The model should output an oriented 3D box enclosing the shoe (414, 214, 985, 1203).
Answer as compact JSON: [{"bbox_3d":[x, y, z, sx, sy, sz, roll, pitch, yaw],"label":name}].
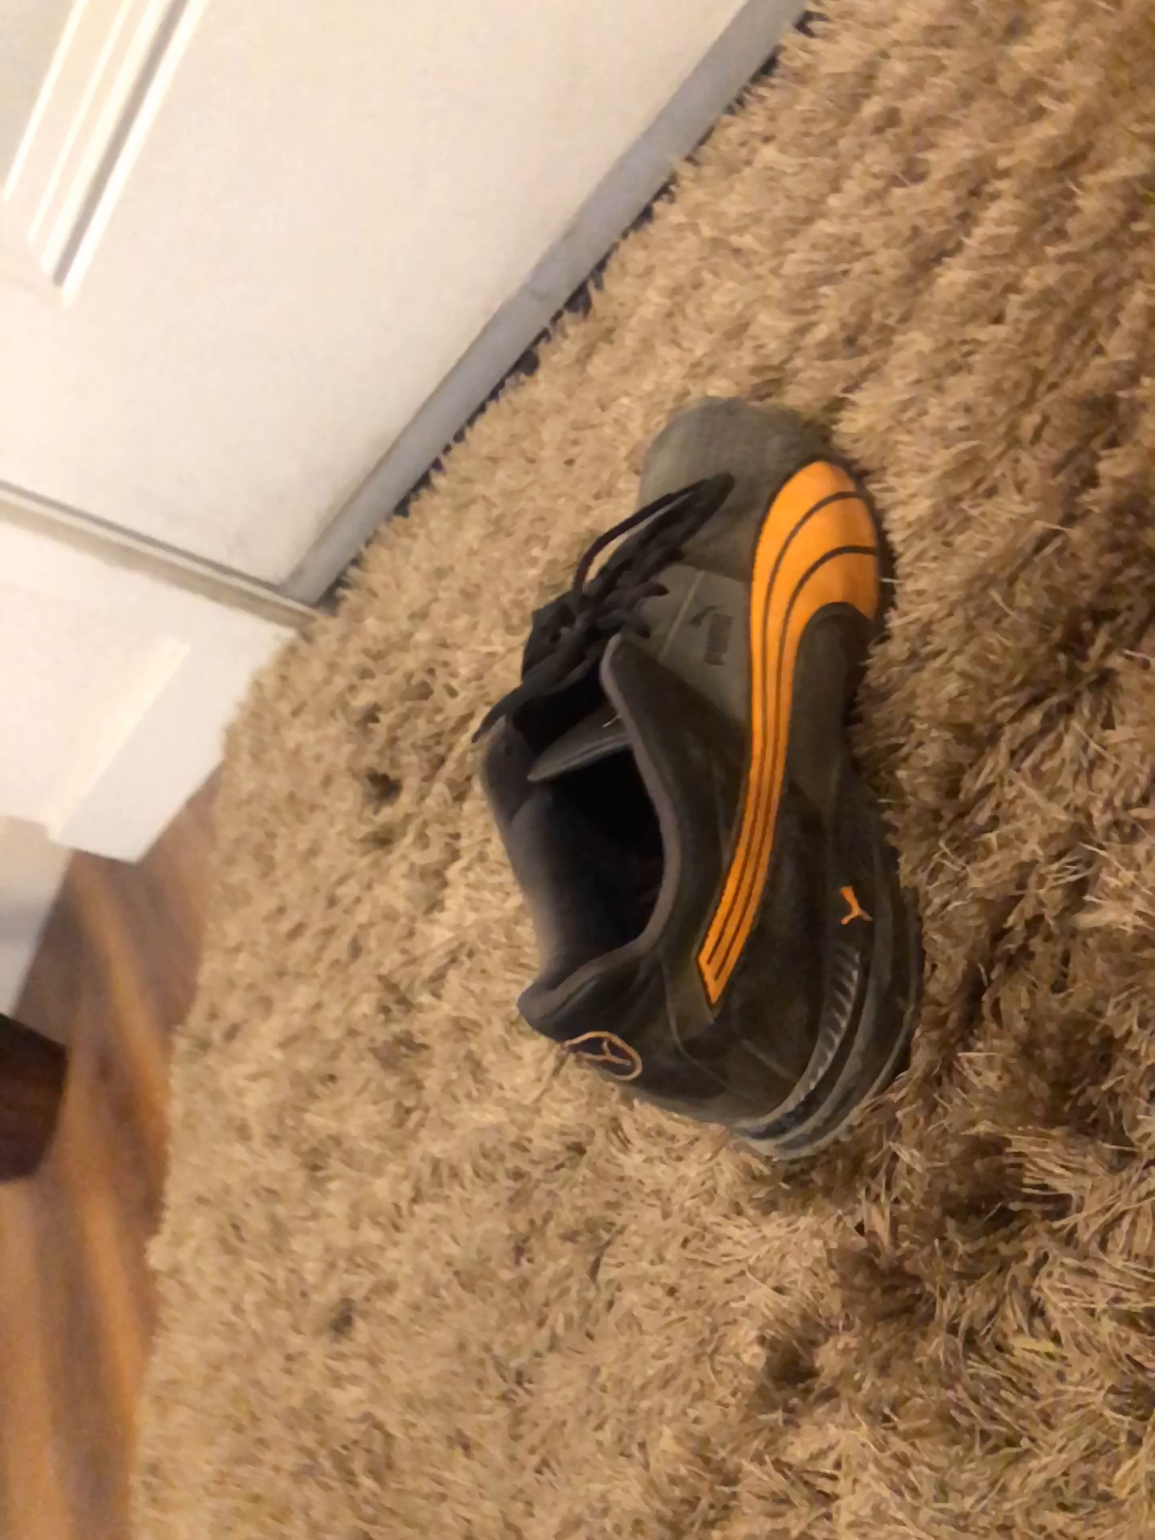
[{"bbox_3d":[0.030,-0.022,0.442,0.123,0.109,0.300,-34,47,44],"label":"shoe"}]
